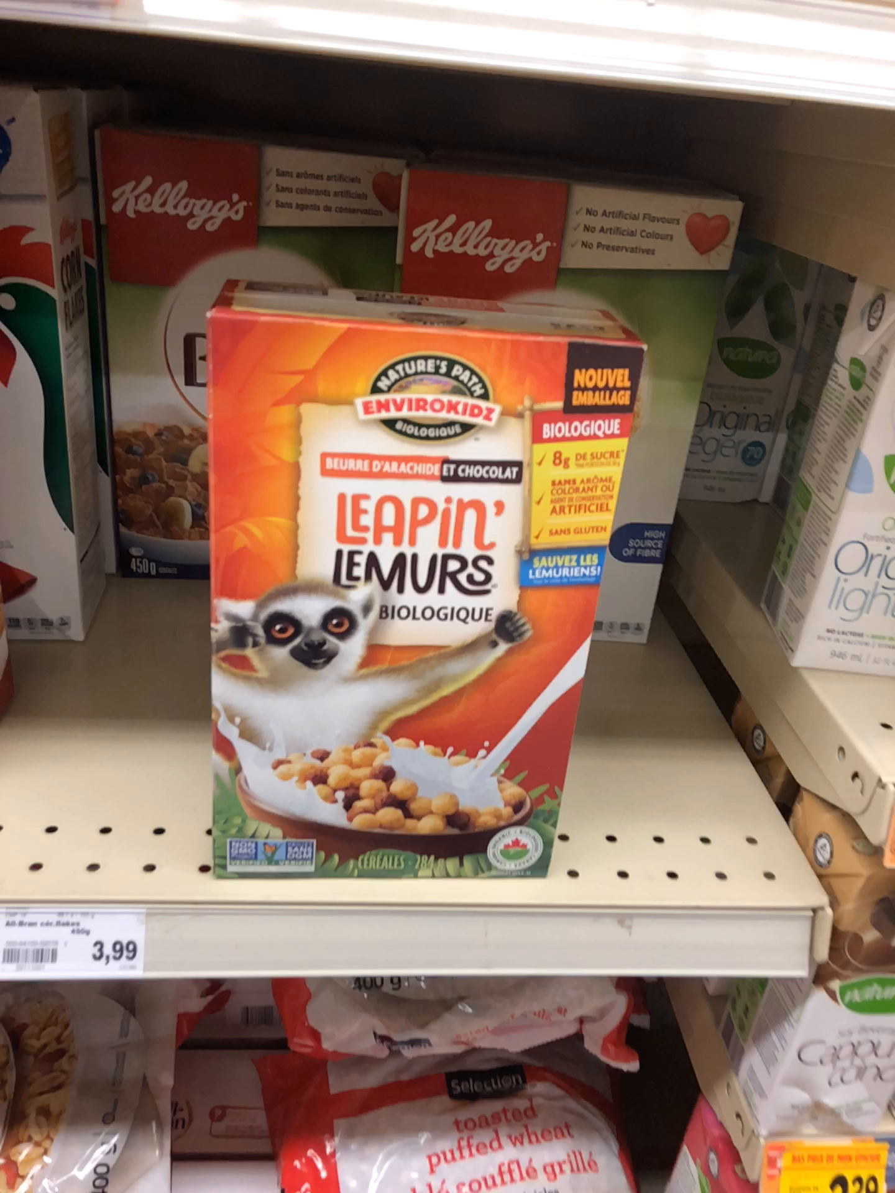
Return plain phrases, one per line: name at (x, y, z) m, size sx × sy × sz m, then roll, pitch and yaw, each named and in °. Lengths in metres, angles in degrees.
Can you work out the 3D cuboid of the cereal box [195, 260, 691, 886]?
cereal box at (-0.014, 0.002, 0.423) m, size 0.170 × 0.258 × 0.071 m, roll 2°, pitch 27°, yaw -7°
